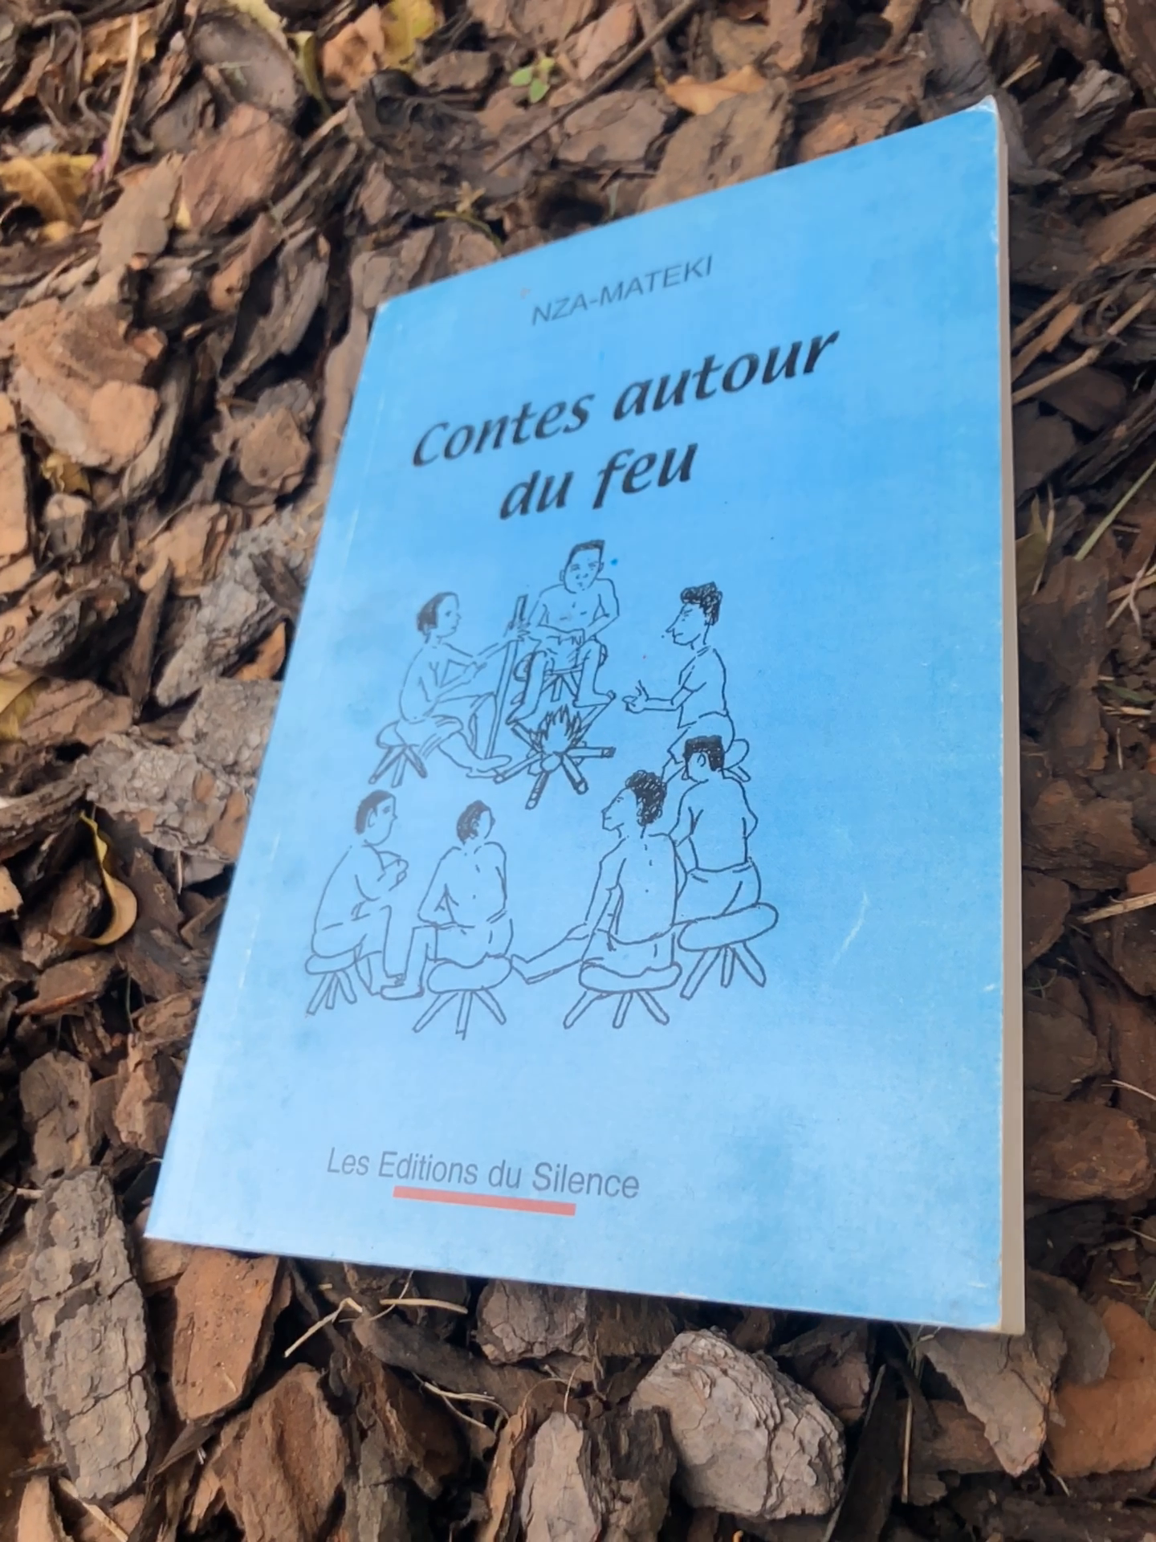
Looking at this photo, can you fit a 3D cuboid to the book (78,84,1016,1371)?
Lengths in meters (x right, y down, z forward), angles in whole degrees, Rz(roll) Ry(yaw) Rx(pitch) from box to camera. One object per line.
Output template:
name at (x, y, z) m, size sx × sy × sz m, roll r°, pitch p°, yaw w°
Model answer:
book at (-0.001, -0.018, 0.222) m, size 0.144 × 0.015 × 0.202 m, roll -6°, pitch 62°, yaw 29°
